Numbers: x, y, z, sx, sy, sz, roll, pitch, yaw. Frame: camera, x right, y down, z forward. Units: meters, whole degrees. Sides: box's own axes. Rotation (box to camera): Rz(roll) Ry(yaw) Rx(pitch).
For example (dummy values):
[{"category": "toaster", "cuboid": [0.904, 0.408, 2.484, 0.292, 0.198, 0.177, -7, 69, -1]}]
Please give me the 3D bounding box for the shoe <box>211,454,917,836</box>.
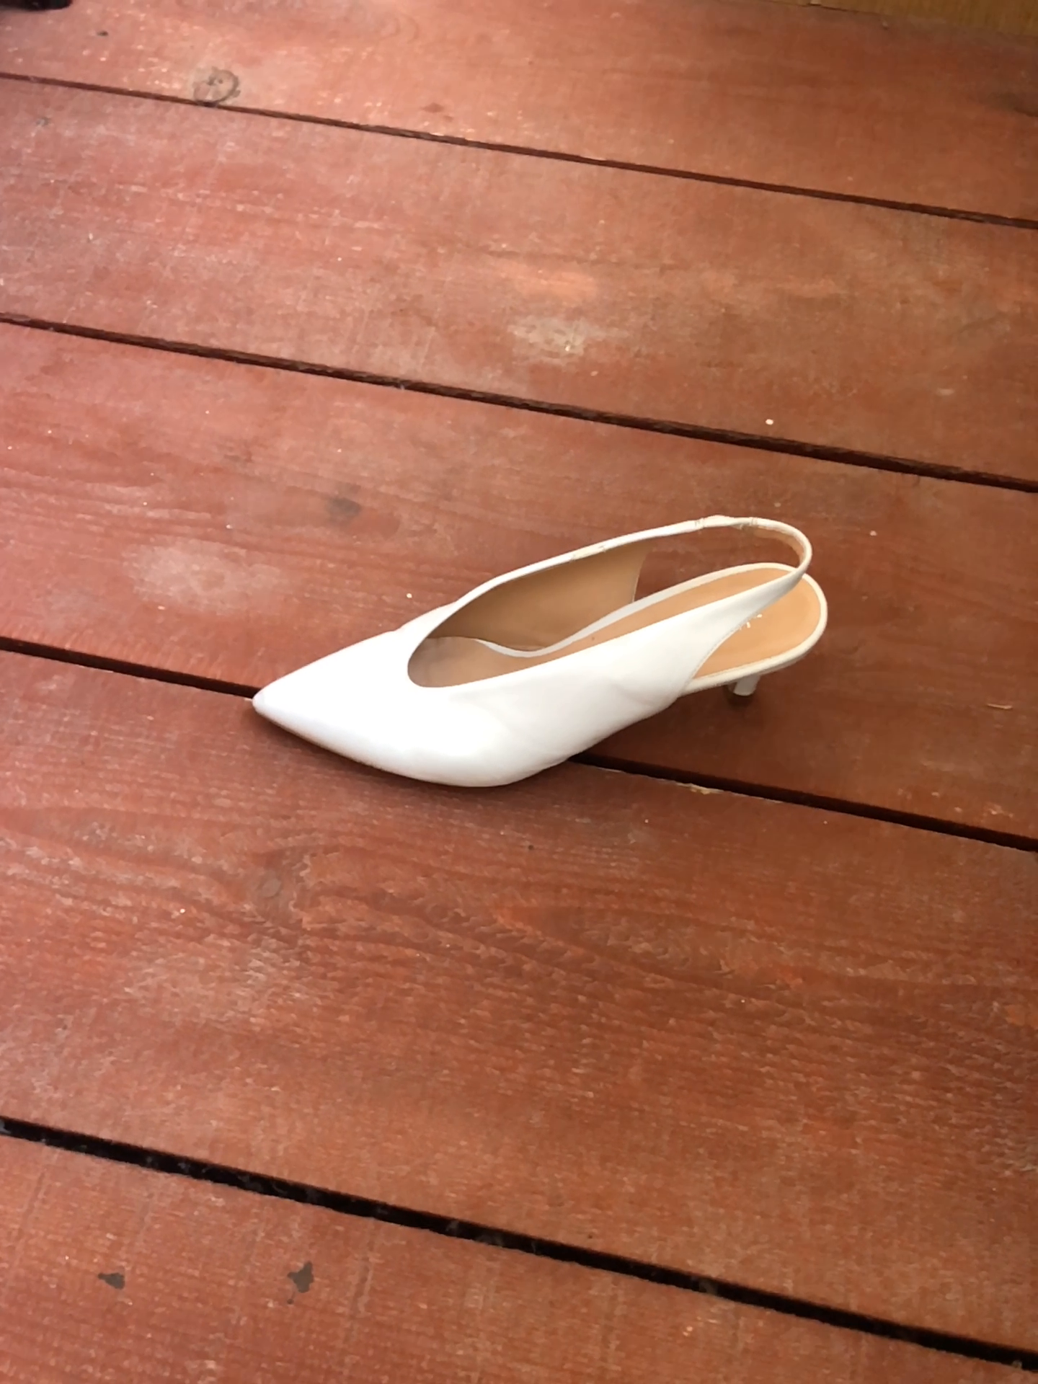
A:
[{"category": "shoe", "cuboid": [0.012, -0.017, 0.447, 0.240, 0.080, 0.100, -5, 62, -2]}]
